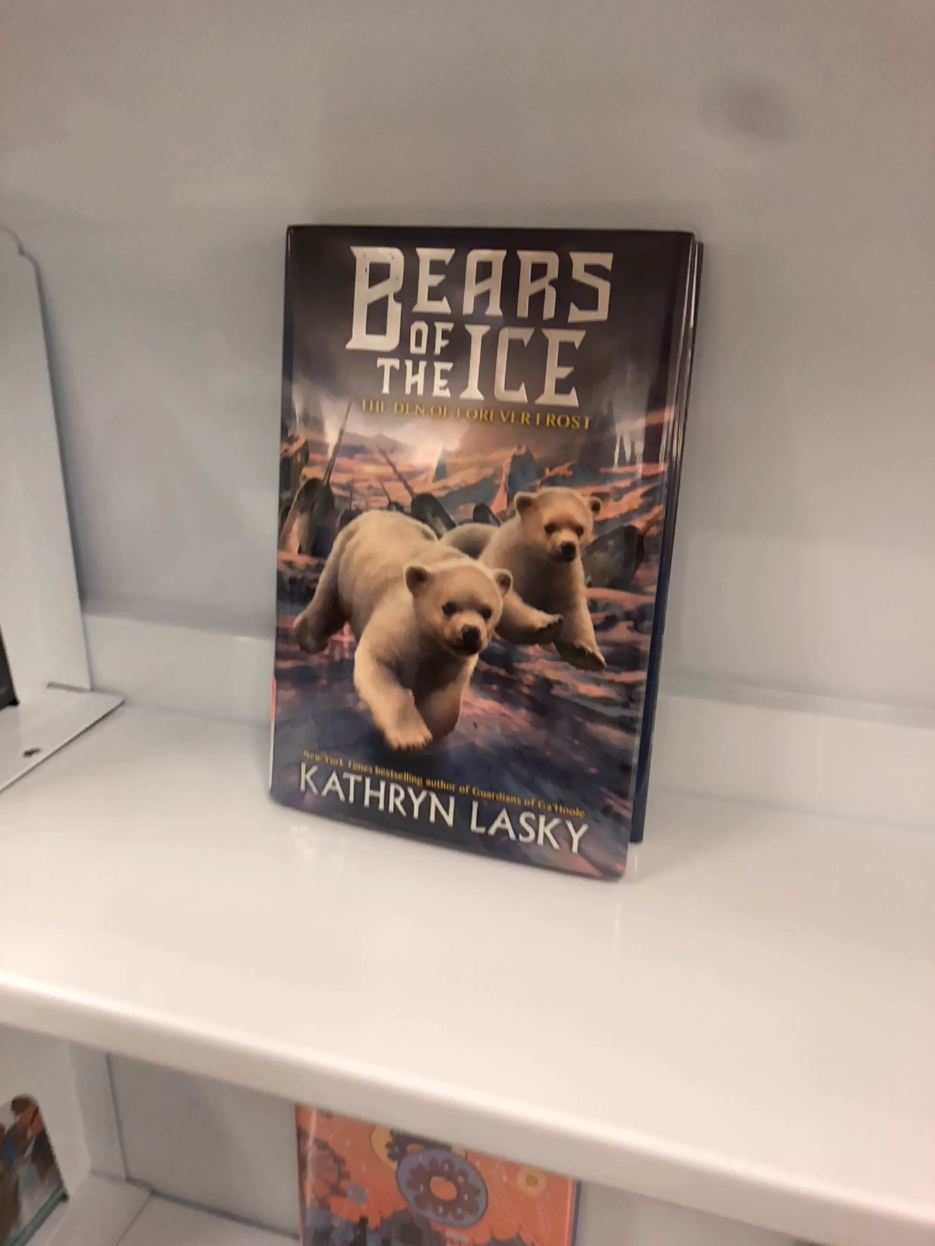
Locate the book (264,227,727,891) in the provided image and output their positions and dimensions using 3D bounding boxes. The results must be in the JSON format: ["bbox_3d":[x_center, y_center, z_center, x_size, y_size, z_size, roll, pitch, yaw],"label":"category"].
[{"bbox_3d":[0.004,-0.027,0.380,0.150,0.216,0.043,8,12,21],"label":"book"}]
